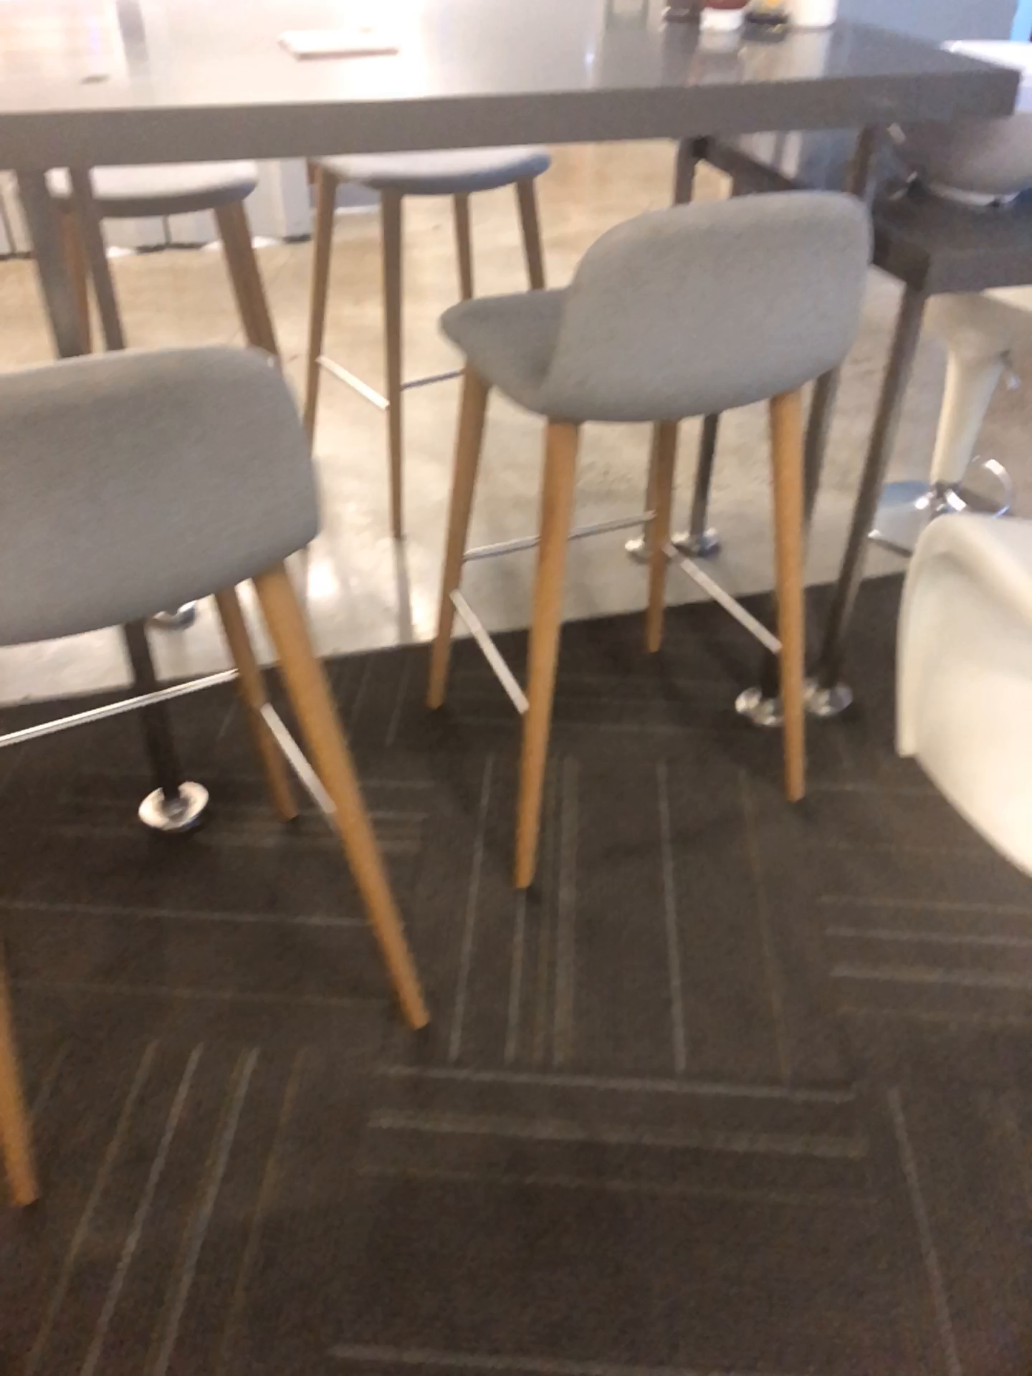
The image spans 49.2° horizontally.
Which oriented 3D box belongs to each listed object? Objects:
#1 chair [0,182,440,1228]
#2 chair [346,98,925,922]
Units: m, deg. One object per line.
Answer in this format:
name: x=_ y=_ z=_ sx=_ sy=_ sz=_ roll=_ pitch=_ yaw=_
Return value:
chair: x=-0.474 y=0.010 z=1.295 sx=0.572 sy=0.942 sz=0.543 roll=-17 pitch=40 yaw=-21
chair: x=0.118 y=-0.264 z=1.722 sx=0.541 sy=1.031 sz=0.543 roll=-13 pitch=39 yaw=-18
